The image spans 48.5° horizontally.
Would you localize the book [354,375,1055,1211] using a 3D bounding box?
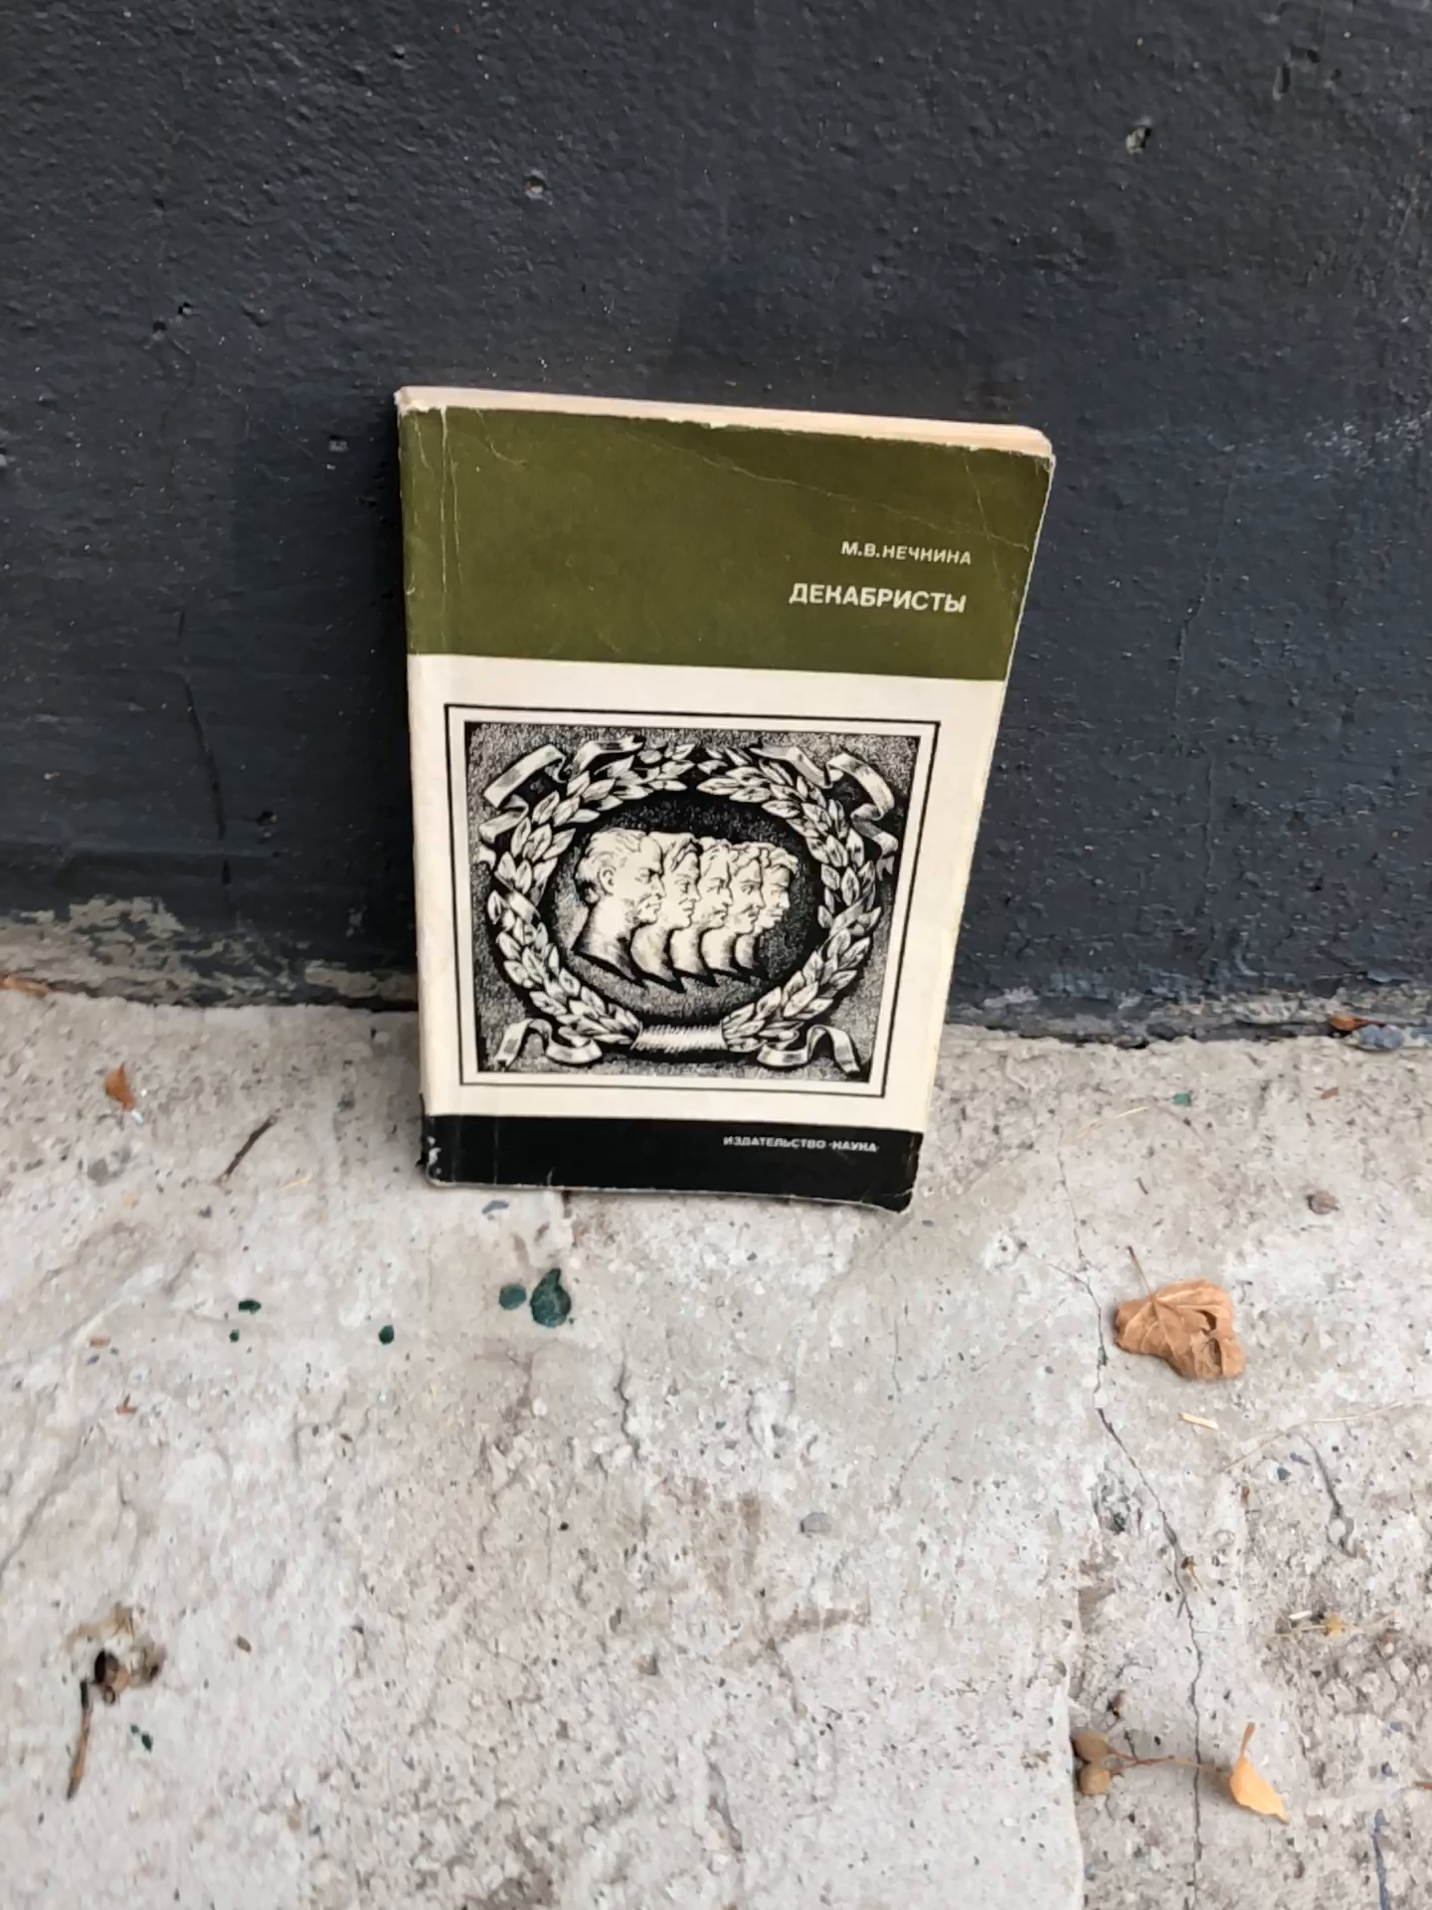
[{"bbox_3d":[-0.007,-0.023,0.322,0.120,0.169,0.020,3,30,-4],"label":"book"}]
